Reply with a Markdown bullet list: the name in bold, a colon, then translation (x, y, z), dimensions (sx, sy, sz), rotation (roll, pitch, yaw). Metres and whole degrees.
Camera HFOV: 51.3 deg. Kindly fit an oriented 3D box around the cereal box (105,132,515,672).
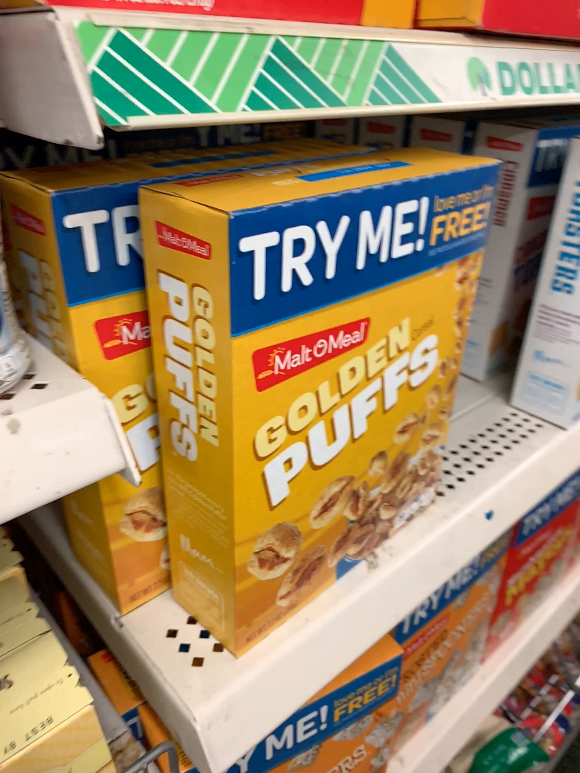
- **cereal box**: translation (0.020, -0.003, 0.310), dimensions (0.191, 0.219, 0.060), rotation (-25, 38, -39)
